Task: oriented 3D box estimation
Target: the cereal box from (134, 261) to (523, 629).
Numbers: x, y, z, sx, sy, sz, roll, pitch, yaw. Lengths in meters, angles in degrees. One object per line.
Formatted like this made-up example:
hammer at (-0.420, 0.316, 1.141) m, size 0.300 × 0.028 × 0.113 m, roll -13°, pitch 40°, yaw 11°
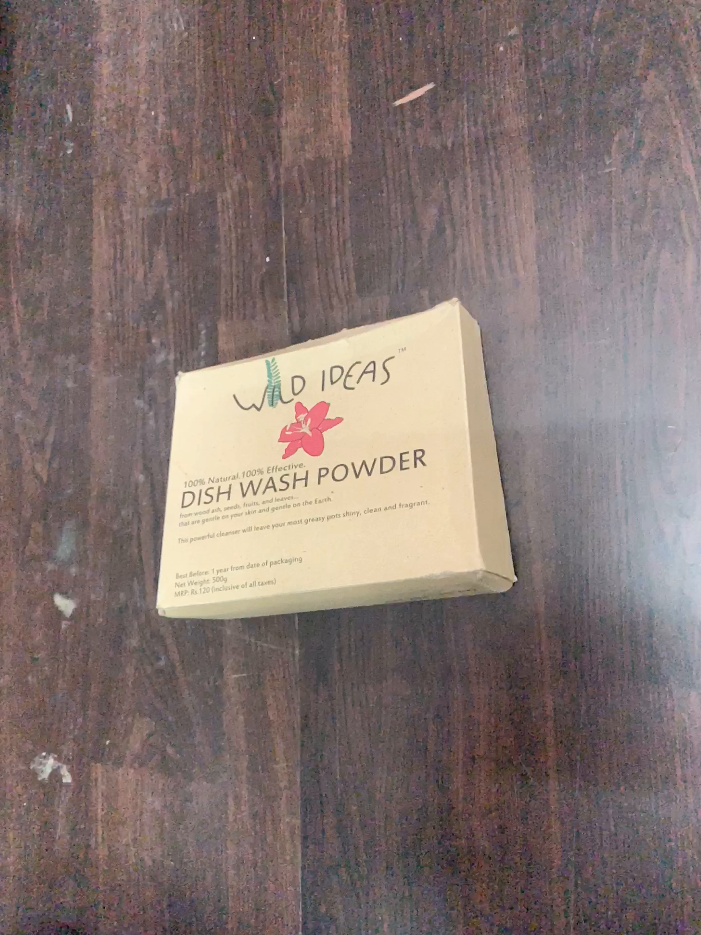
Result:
cereal box at (-0.014, -0.003, 0.377) m, size 0.180 × 0.060 × 0.150 m, roll -11°, pitch 66°, yaw 23°
